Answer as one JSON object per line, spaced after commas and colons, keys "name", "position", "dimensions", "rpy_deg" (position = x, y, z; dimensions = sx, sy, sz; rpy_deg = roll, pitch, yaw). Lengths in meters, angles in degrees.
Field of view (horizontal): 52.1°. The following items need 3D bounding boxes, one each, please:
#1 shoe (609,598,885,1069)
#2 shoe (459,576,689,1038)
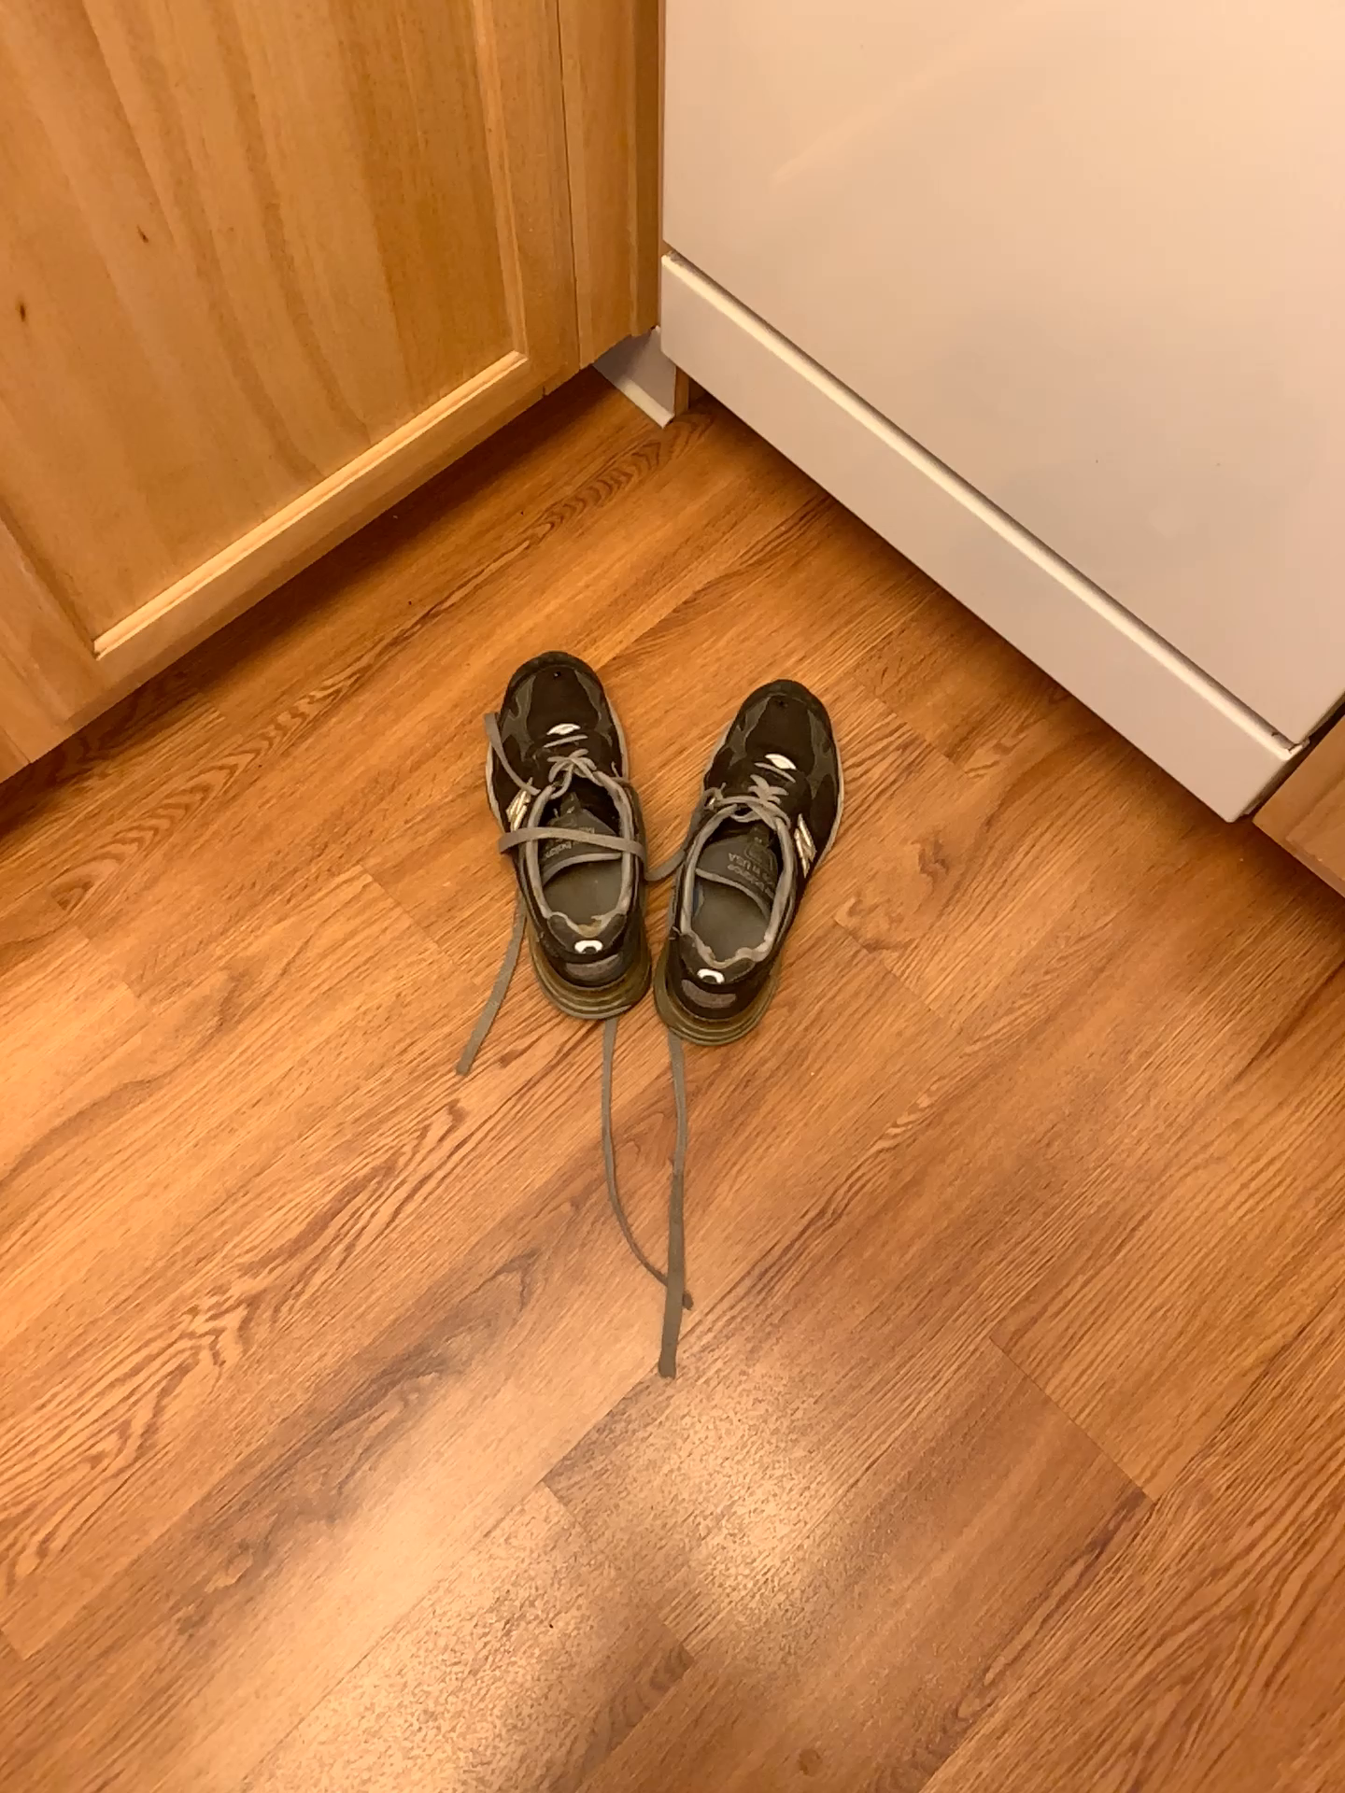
{"name": "shoe", "position": [0.055, -0.047, 0.971], "dimensions": [0.120, 0.100, 0.301], "rpy_deg": [14, 67, 5]}
{"name": "shoe", "position": [-0.072, -0.066, 0.968], "dimensions": [0.120, 0.100, 0.301], "rpy_deg": [-7, 67, -4]}
